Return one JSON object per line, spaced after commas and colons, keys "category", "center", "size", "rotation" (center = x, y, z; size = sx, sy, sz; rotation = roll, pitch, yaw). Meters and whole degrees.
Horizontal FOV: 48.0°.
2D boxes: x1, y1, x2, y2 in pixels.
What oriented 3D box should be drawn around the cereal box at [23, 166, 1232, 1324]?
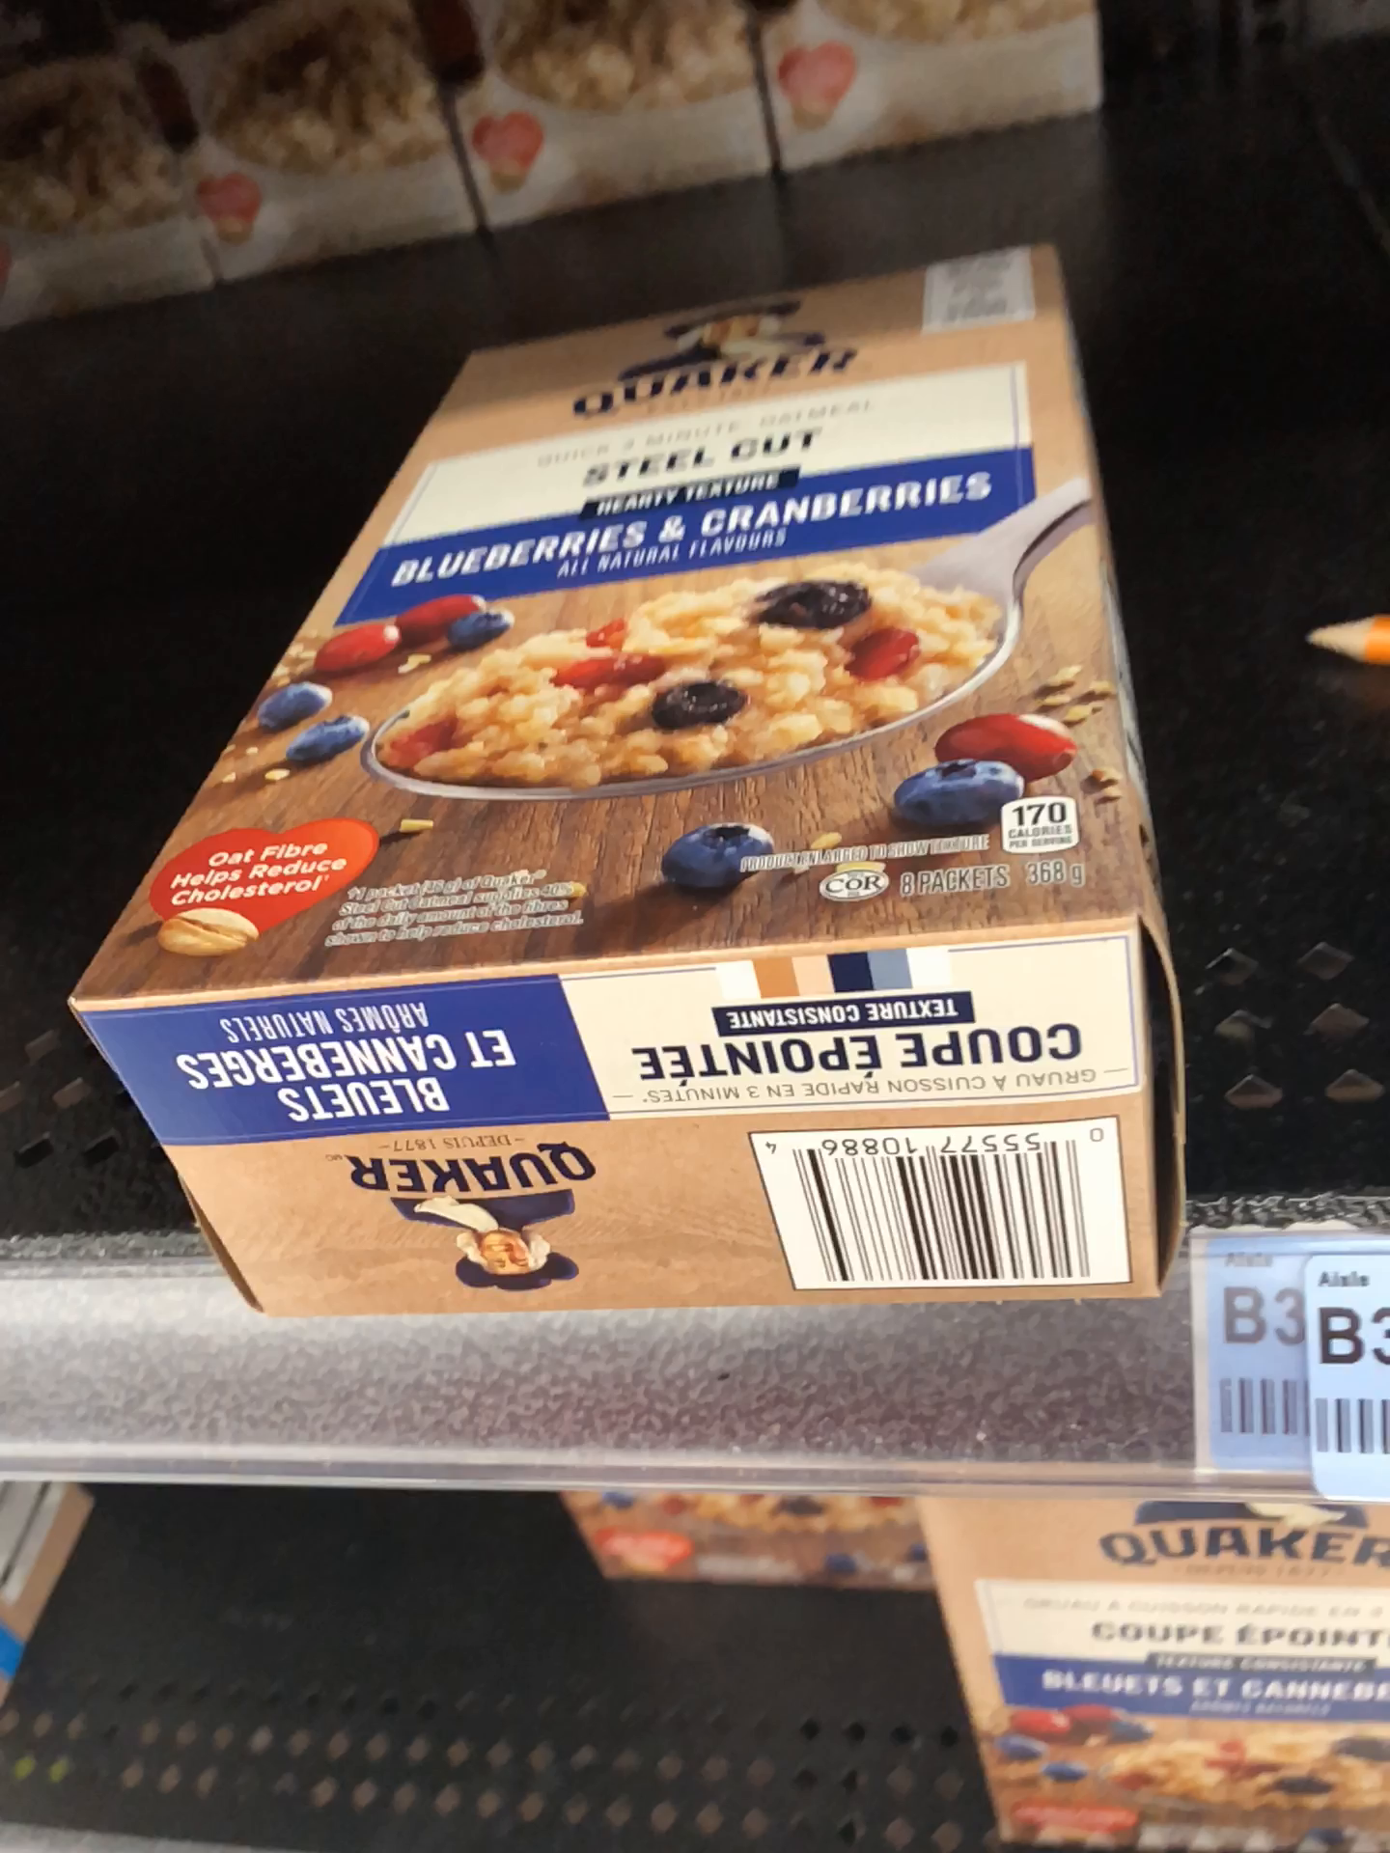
{"category": "cereal box", "center": [0.009, -0.052, 0.269], "size": [0.130, 0.060, 0.241], "rotation": [-5, 40, 14]}
